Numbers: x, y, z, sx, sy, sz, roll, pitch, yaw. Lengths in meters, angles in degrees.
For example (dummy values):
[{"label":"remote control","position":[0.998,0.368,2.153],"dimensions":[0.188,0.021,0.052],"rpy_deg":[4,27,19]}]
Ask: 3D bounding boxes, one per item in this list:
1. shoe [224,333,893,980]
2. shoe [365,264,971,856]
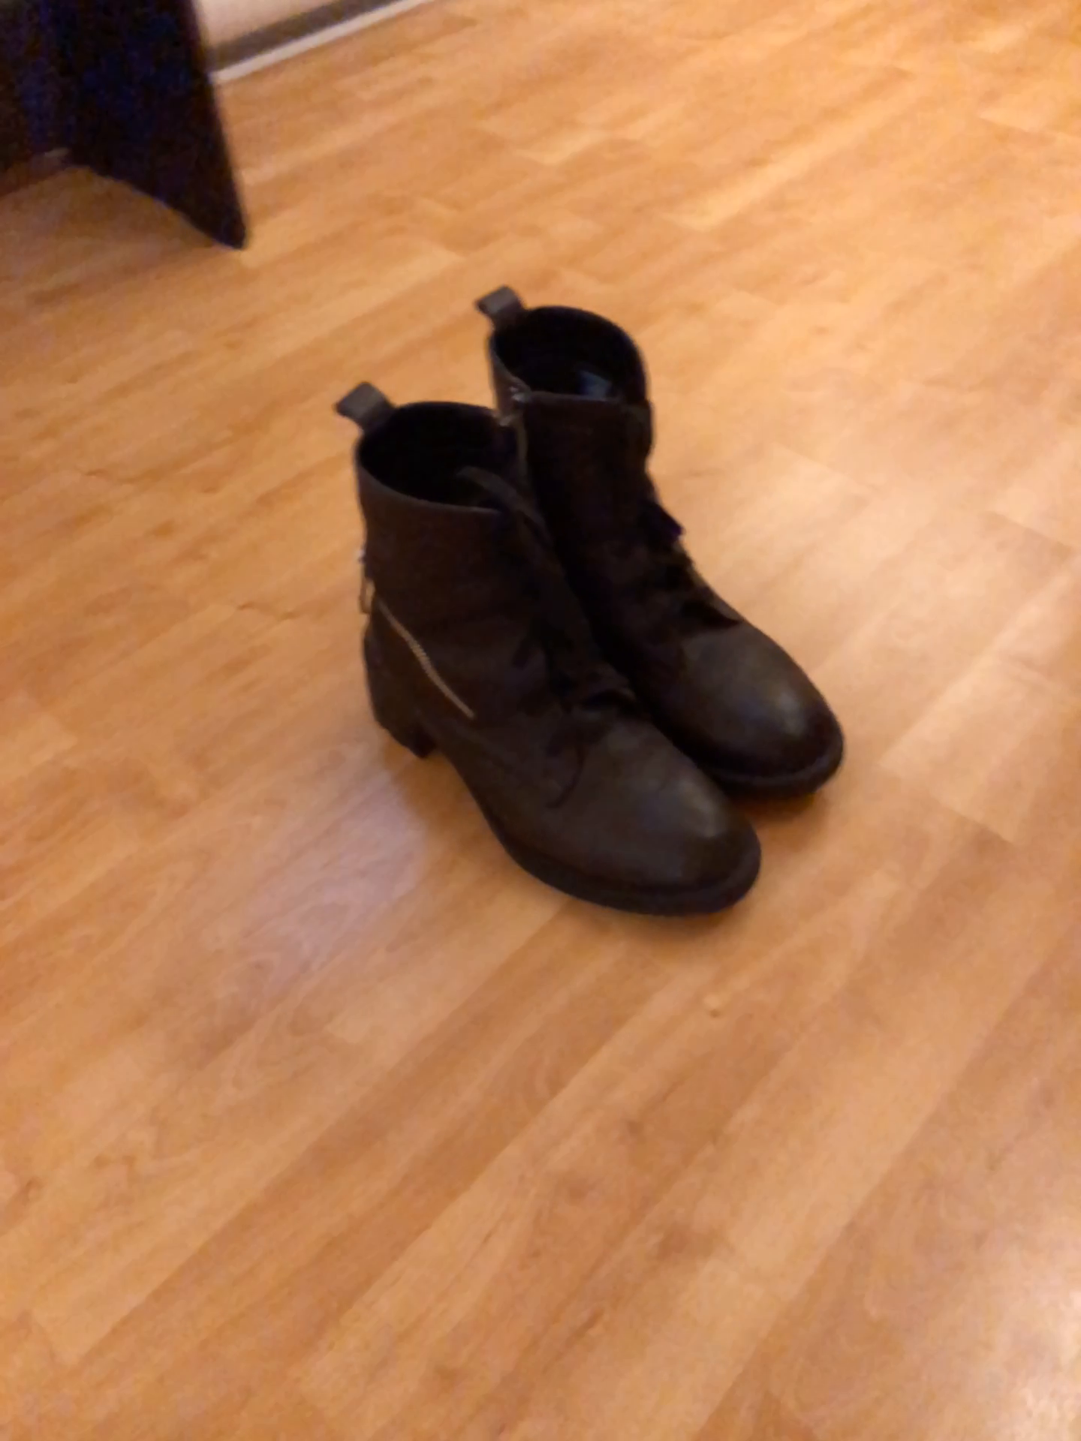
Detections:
[{"label":"shoe","position":[0.001,-0.036,0.561],"dimensions":[0.270,0.179,0.110],"rpy_deg":[31,57,26]},{"label":"shoe","position":[0.053,-0.089,0.617],"dimensions":[0.271,0.179,0.110],"rpy_deg":[34,58,28]}]
